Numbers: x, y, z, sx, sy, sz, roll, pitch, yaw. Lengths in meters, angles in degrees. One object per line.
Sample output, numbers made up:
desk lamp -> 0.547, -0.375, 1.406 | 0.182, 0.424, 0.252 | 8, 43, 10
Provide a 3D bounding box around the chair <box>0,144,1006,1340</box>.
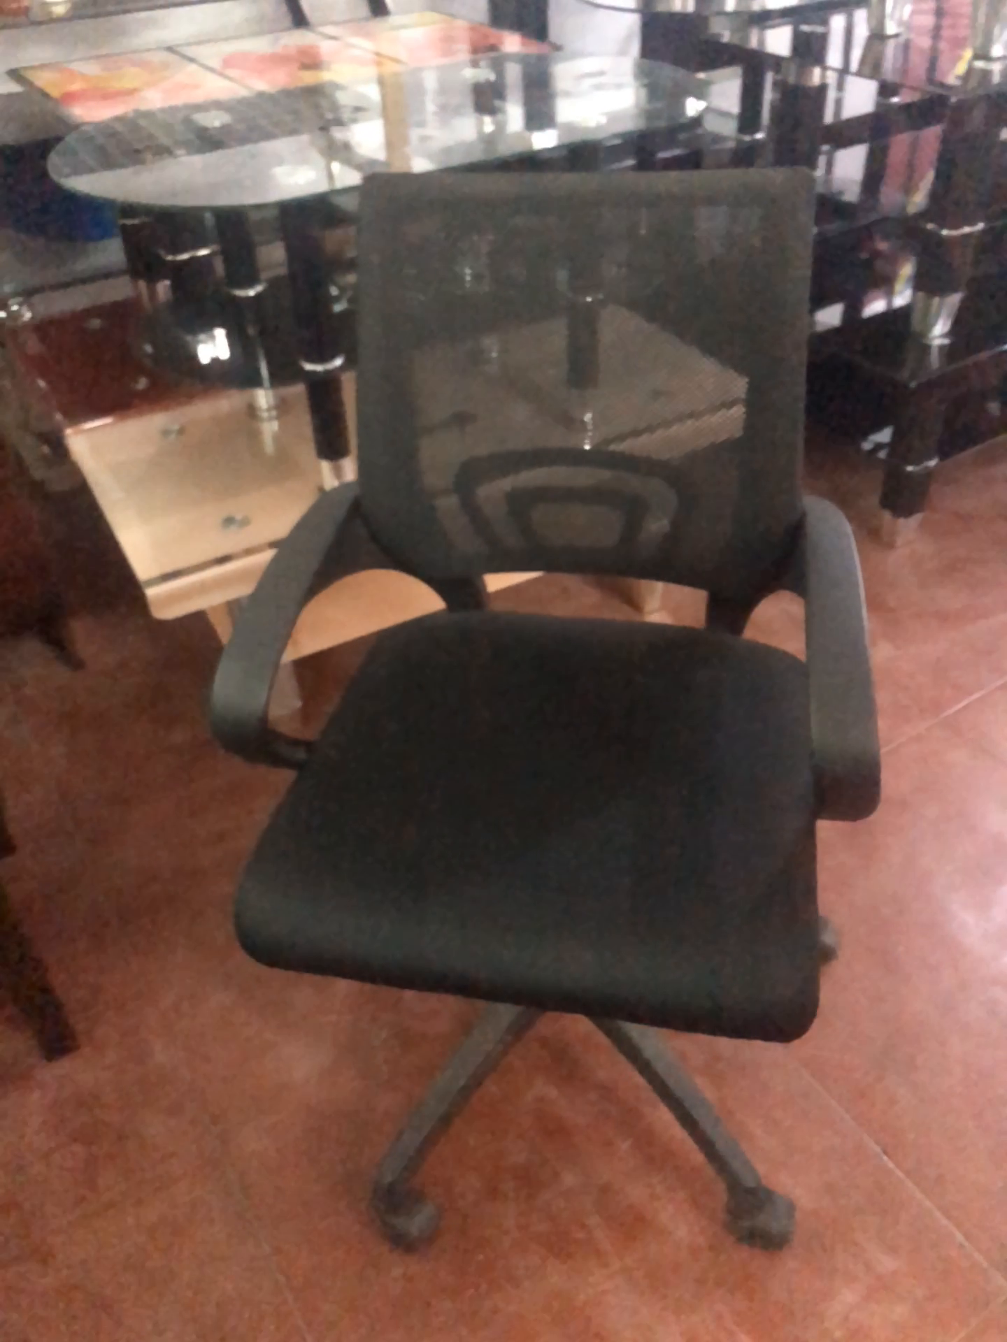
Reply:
chair -> 0.014, 0.061, 1.094 | 0.750, 0.915, 0.634 | 5, 39, 10
